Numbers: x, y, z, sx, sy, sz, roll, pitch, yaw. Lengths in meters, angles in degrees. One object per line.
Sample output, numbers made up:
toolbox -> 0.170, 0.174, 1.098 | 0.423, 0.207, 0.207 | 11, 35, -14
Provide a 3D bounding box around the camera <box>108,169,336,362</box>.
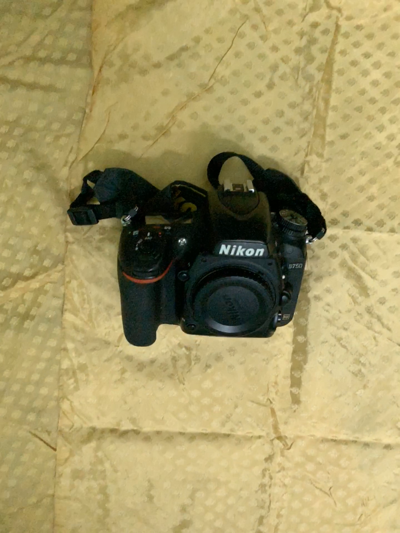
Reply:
camera -> 0.010, 0.000, 0.295 | 0.130, 0.073, 0.111 | 3, 125, -1
